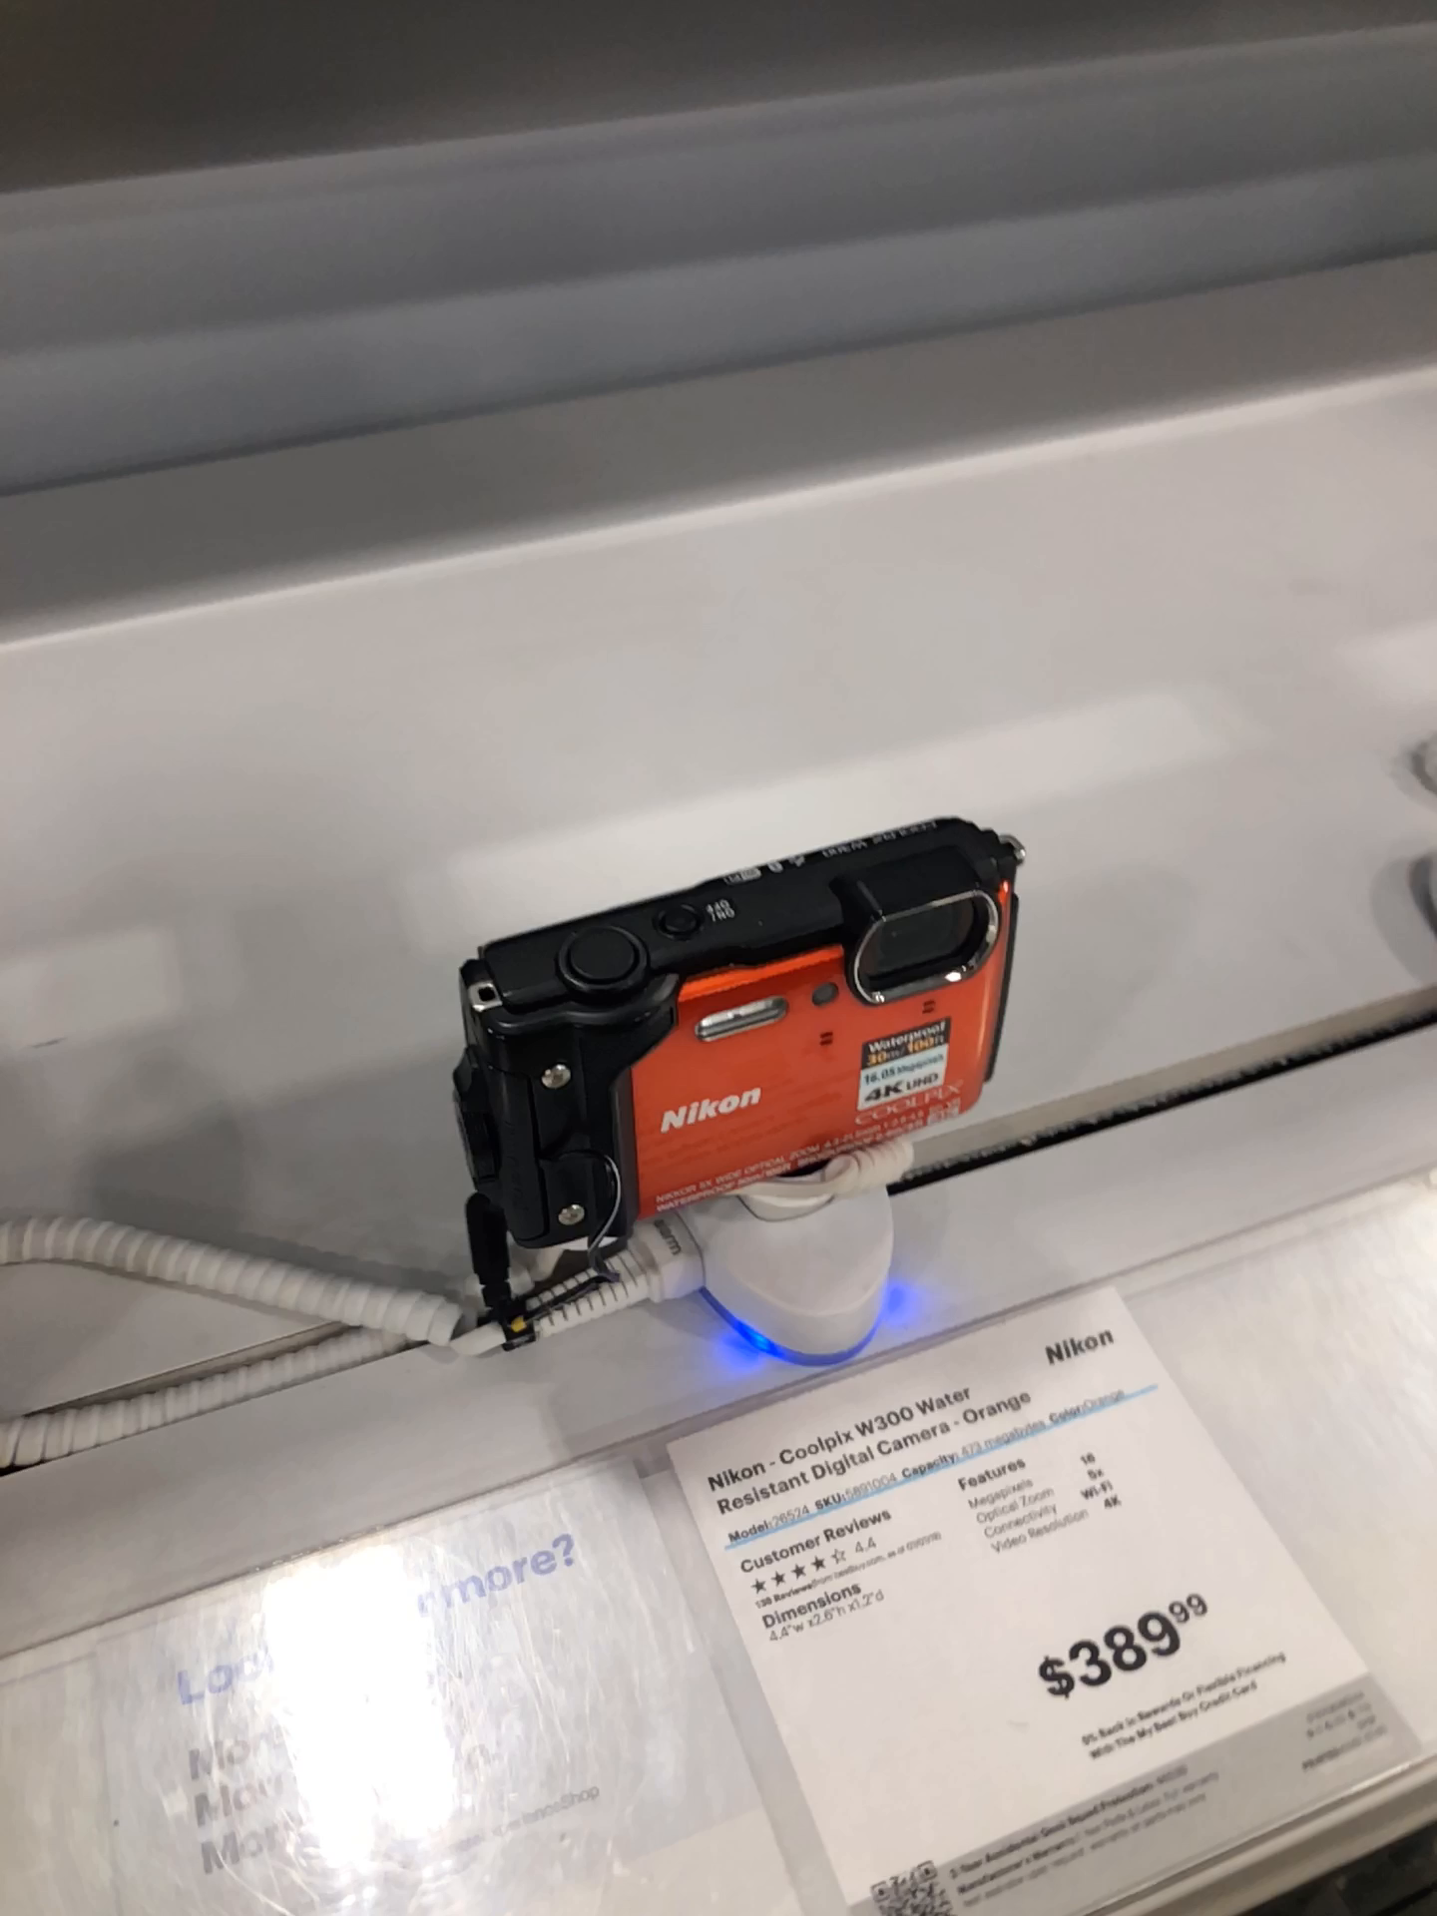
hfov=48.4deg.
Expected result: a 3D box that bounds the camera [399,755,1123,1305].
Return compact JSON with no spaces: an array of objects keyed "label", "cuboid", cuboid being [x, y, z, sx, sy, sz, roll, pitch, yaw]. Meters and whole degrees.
[{"label":"camera","cuboid":[0.008,0.012,0.298,0.120,0.060,0.040,-16,45,-16]}]
